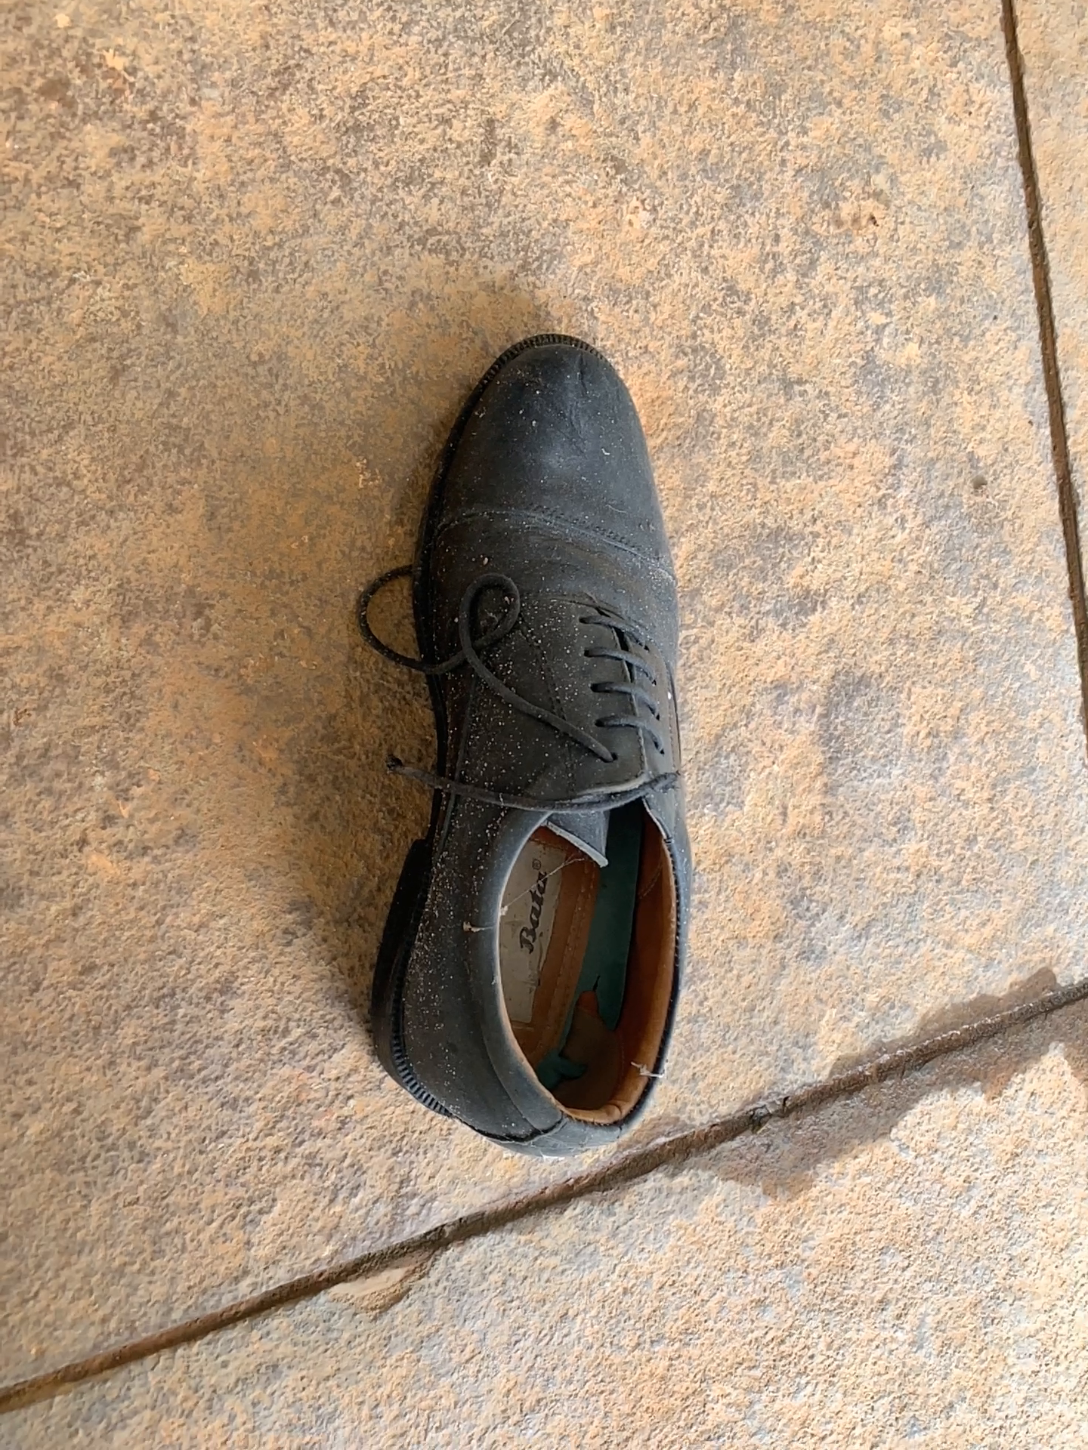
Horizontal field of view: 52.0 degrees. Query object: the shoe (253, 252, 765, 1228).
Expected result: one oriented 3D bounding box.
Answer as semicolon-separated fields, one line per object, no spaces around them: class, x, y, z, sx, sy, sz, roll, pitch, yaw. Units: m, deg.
shoe;-0.012;0.008;0.365;0.100;0.090;0.270;12;83;-26
